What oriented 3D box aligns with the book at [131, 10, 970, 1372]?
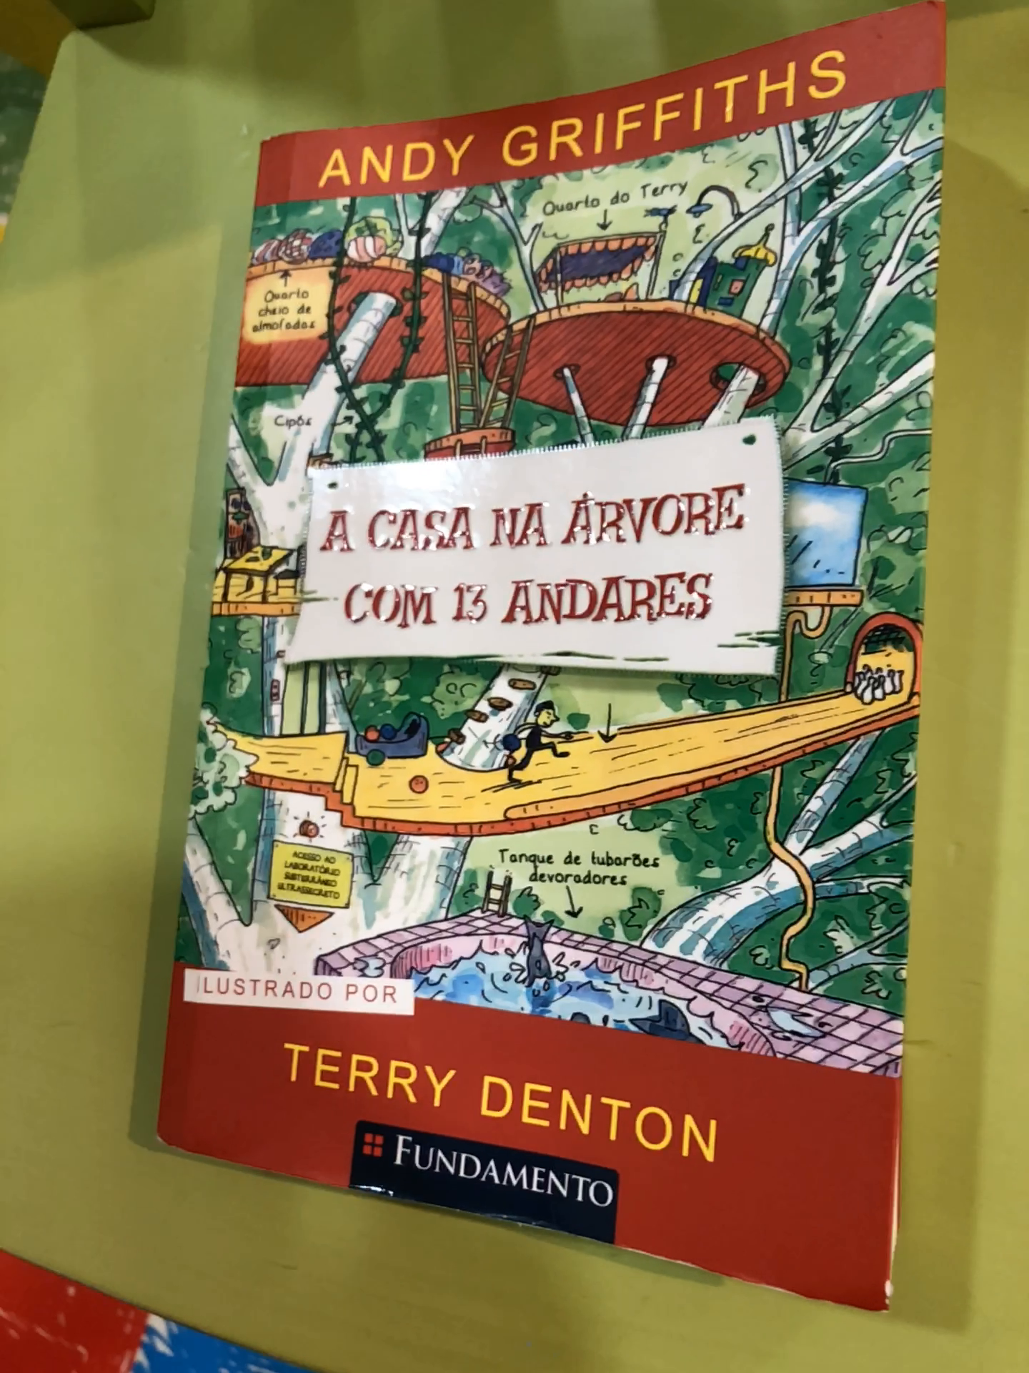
[{"bbox_3d":[0.007,-0.001,0.216,0.137,0.040,0.210,2,84,23],"label":"book"}]
